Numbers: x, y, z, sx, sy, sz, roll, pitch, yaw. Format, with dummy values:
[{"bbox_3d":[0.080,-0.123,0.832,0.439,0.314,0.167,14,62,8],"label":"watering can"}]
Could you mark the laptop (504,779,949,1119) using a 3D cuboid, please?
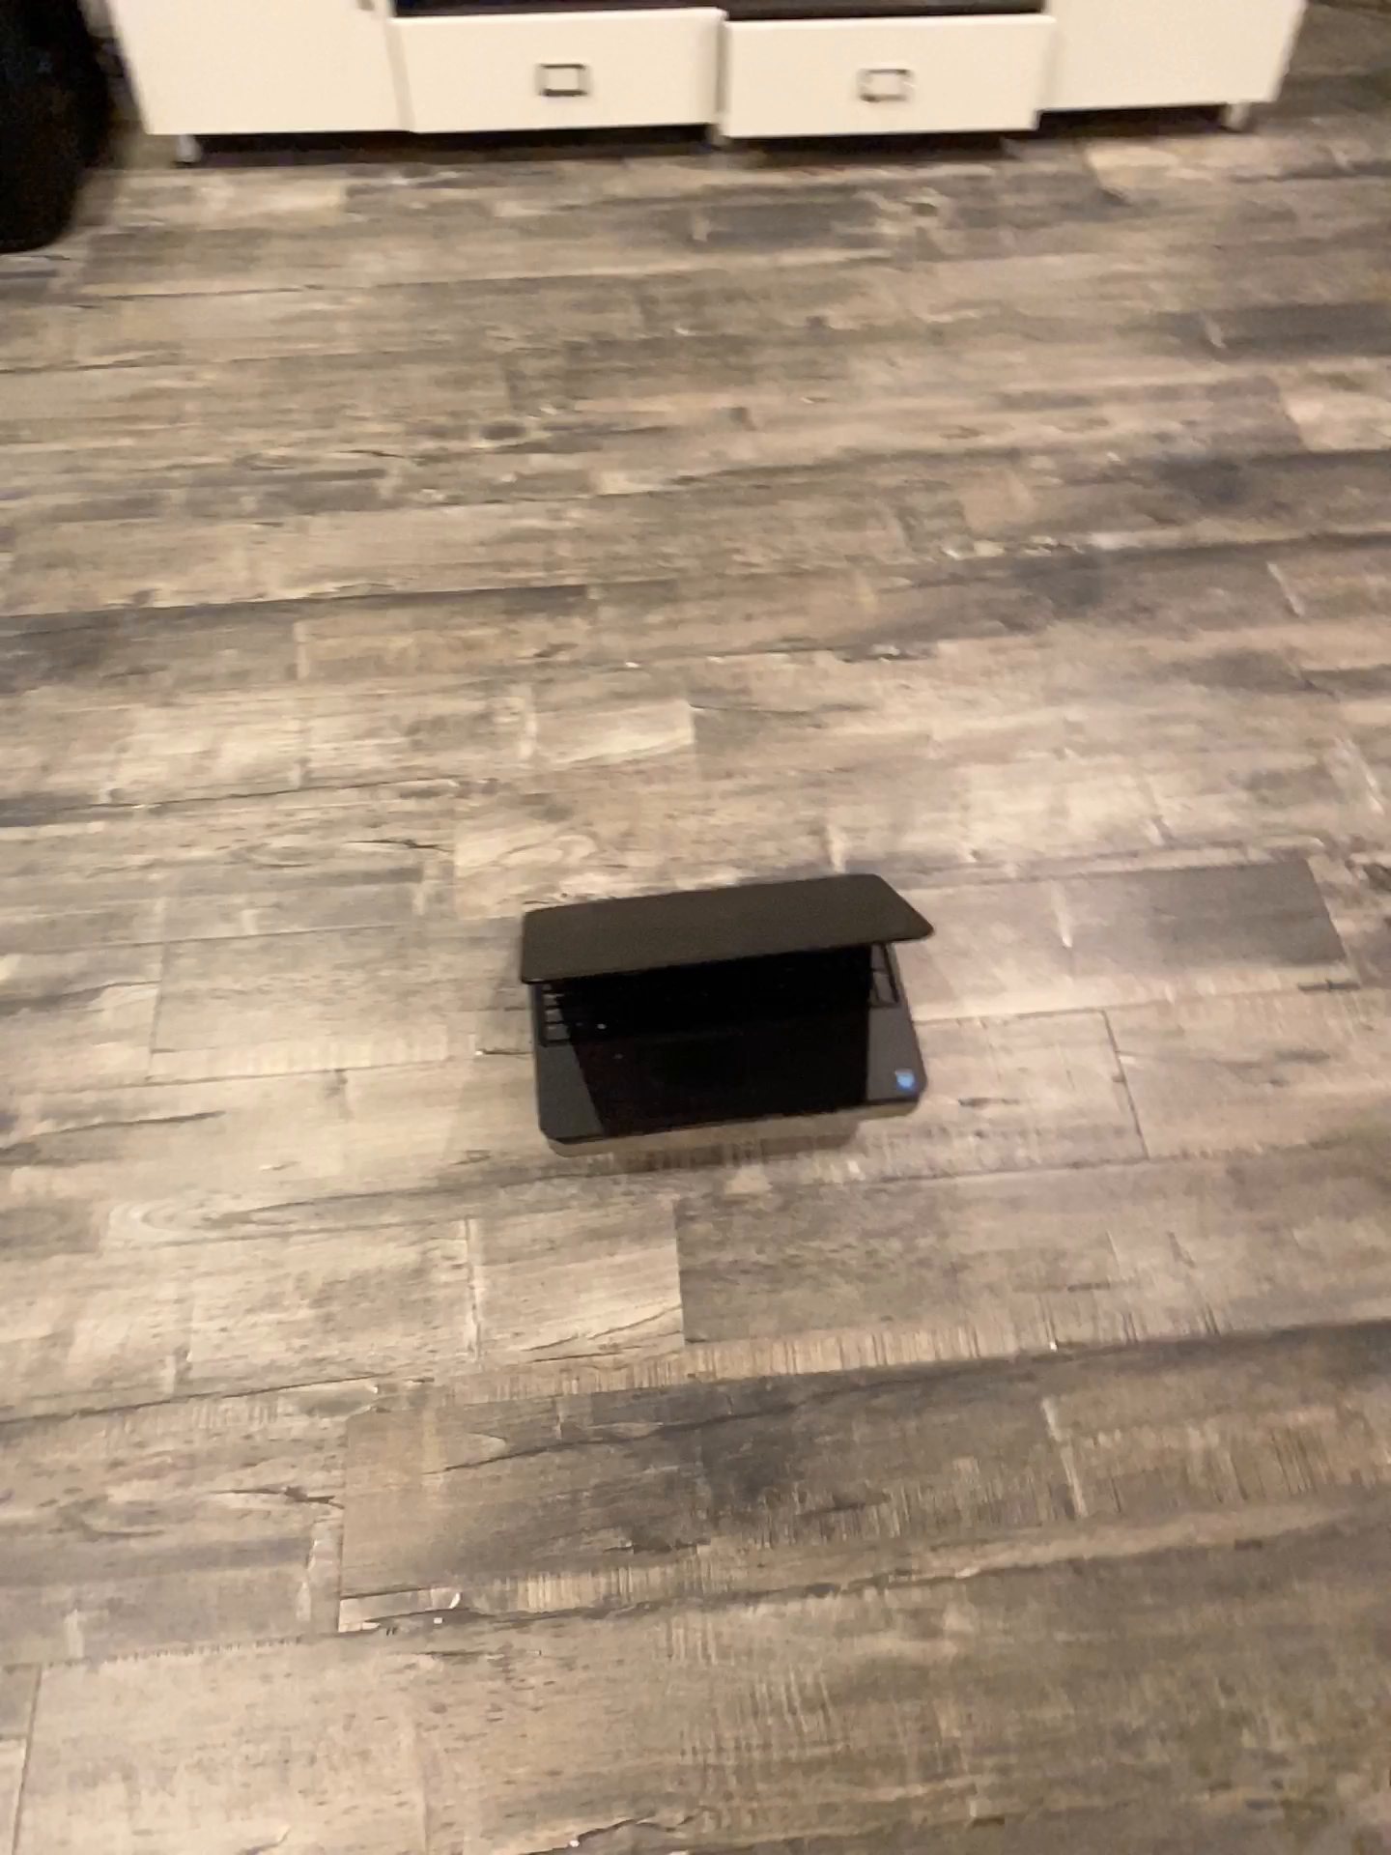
[{"bbox_3d":[0.018,0.018,1.311,0.352,0.170,0.231,-6,55,-5],"label":"laptop"}]
